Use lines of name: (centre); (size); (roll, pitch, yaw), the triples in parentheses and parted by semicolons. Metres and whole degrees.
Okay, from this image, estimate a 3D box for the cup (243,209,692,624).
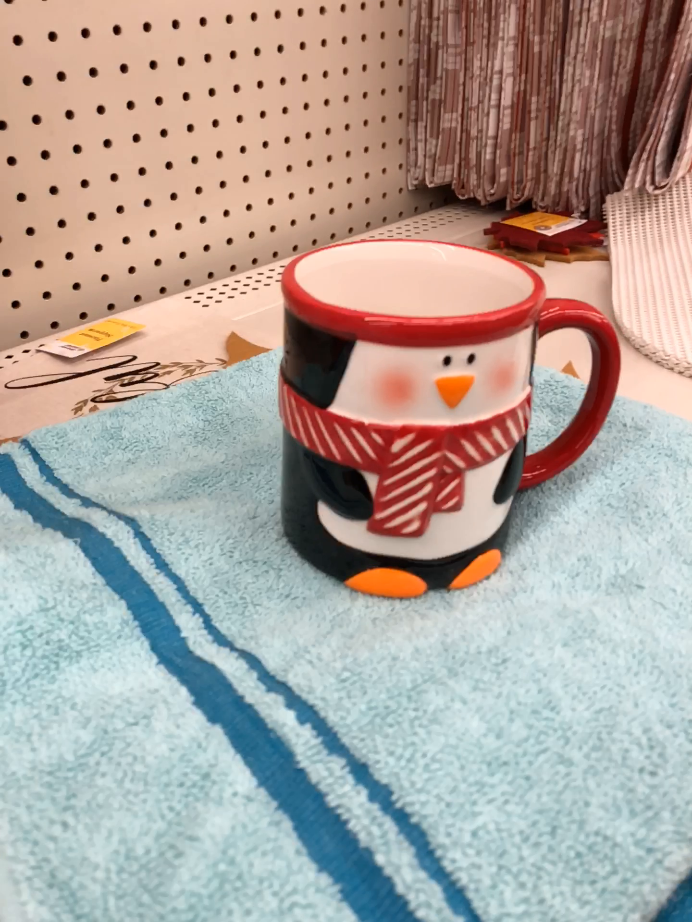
cup: (0.037, -0.023, 0.284); (0.130, 0.110, 0.090); (-8, 31, -14)
